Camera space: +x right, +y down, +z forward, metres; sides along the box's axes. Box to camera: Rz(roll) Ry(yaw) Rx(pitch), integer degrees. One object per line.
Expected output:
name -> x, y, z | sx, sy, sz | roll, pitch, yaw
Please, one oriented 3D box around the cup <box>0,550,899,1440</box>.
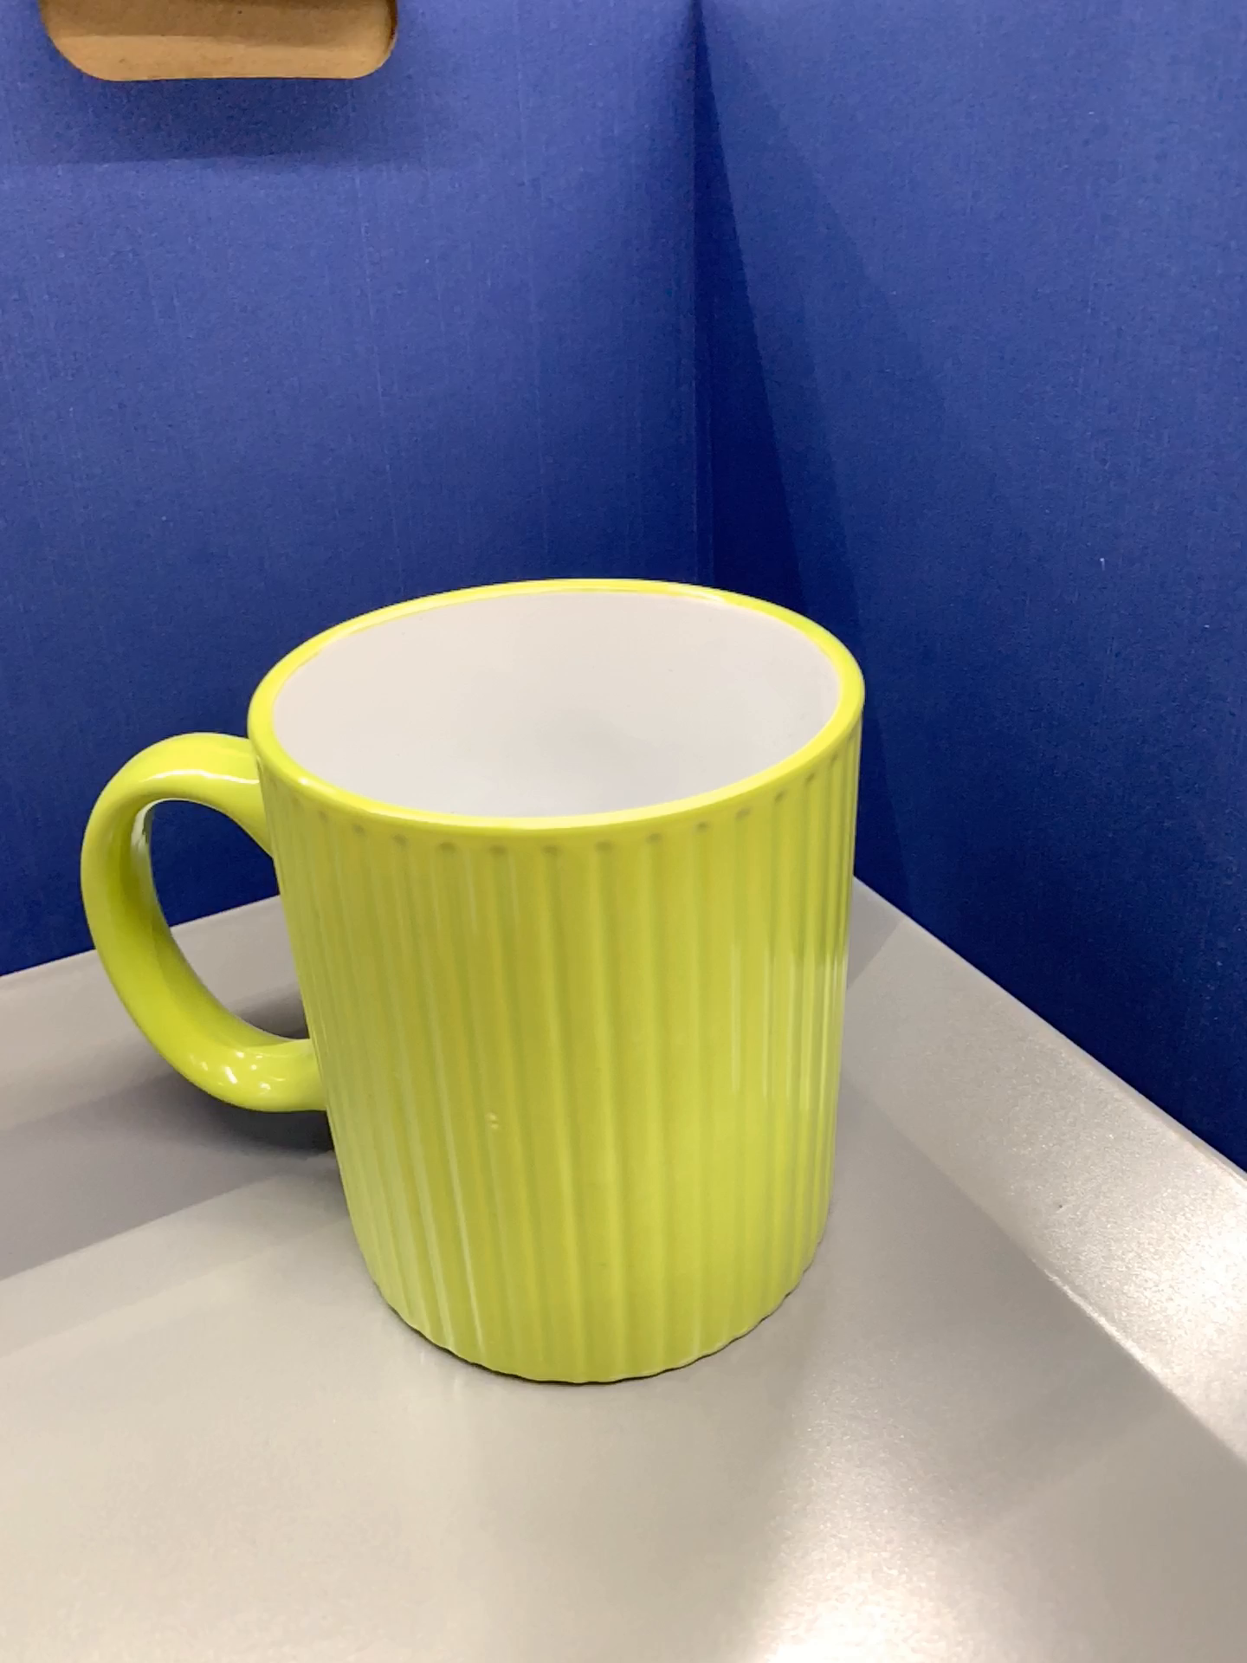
cup -> -0.025, 0.017, 0.213 | 0.129, 0.098, 0.091 | 4, 28, 12
